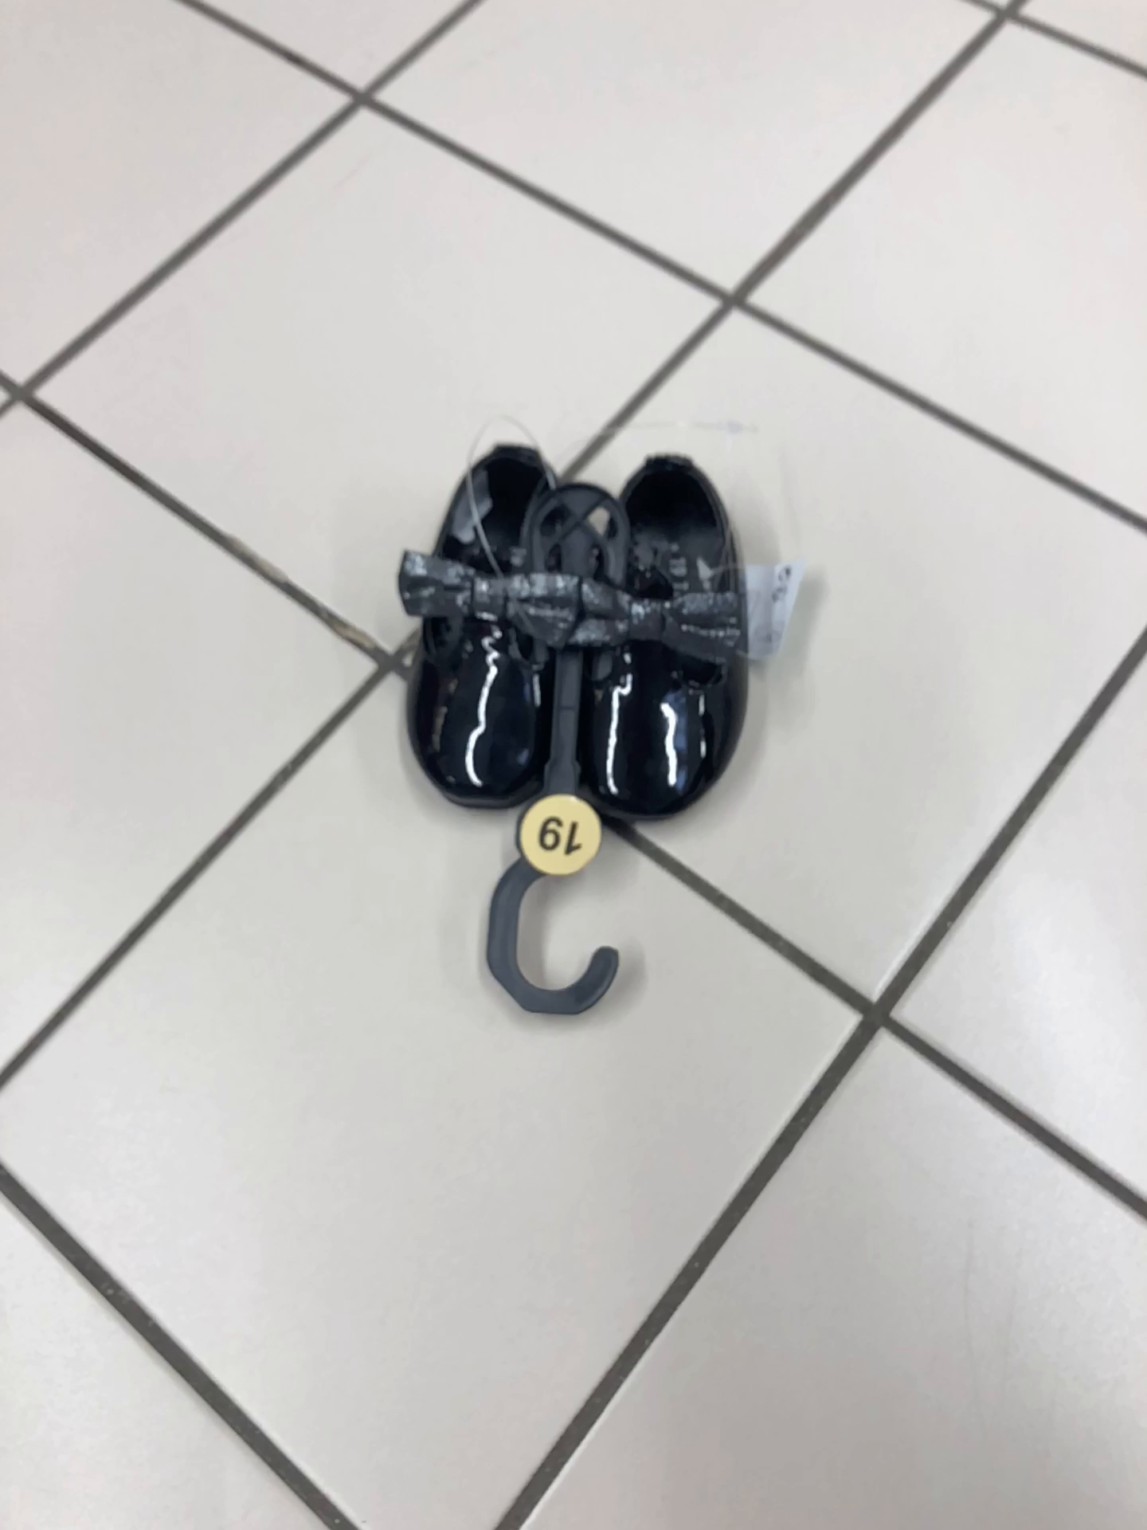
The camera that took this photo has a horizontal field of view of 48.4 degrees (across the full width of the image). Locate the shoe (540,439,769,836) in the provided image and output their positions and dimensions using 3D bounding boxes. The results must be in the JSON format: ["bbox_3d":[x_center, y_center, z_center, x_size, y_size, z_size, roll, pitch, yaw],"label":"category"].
[{"bbox_3d":[0.028,-0.043,0.414,0.061,0.037,0.123,4,66,6],"label":"shoe"}]

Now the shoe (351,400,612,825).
[{"bbox_3d":[-0.025,-0.050,0.414,0.061,0.052,0.125,4,66,6],"label":"shoe"}]
